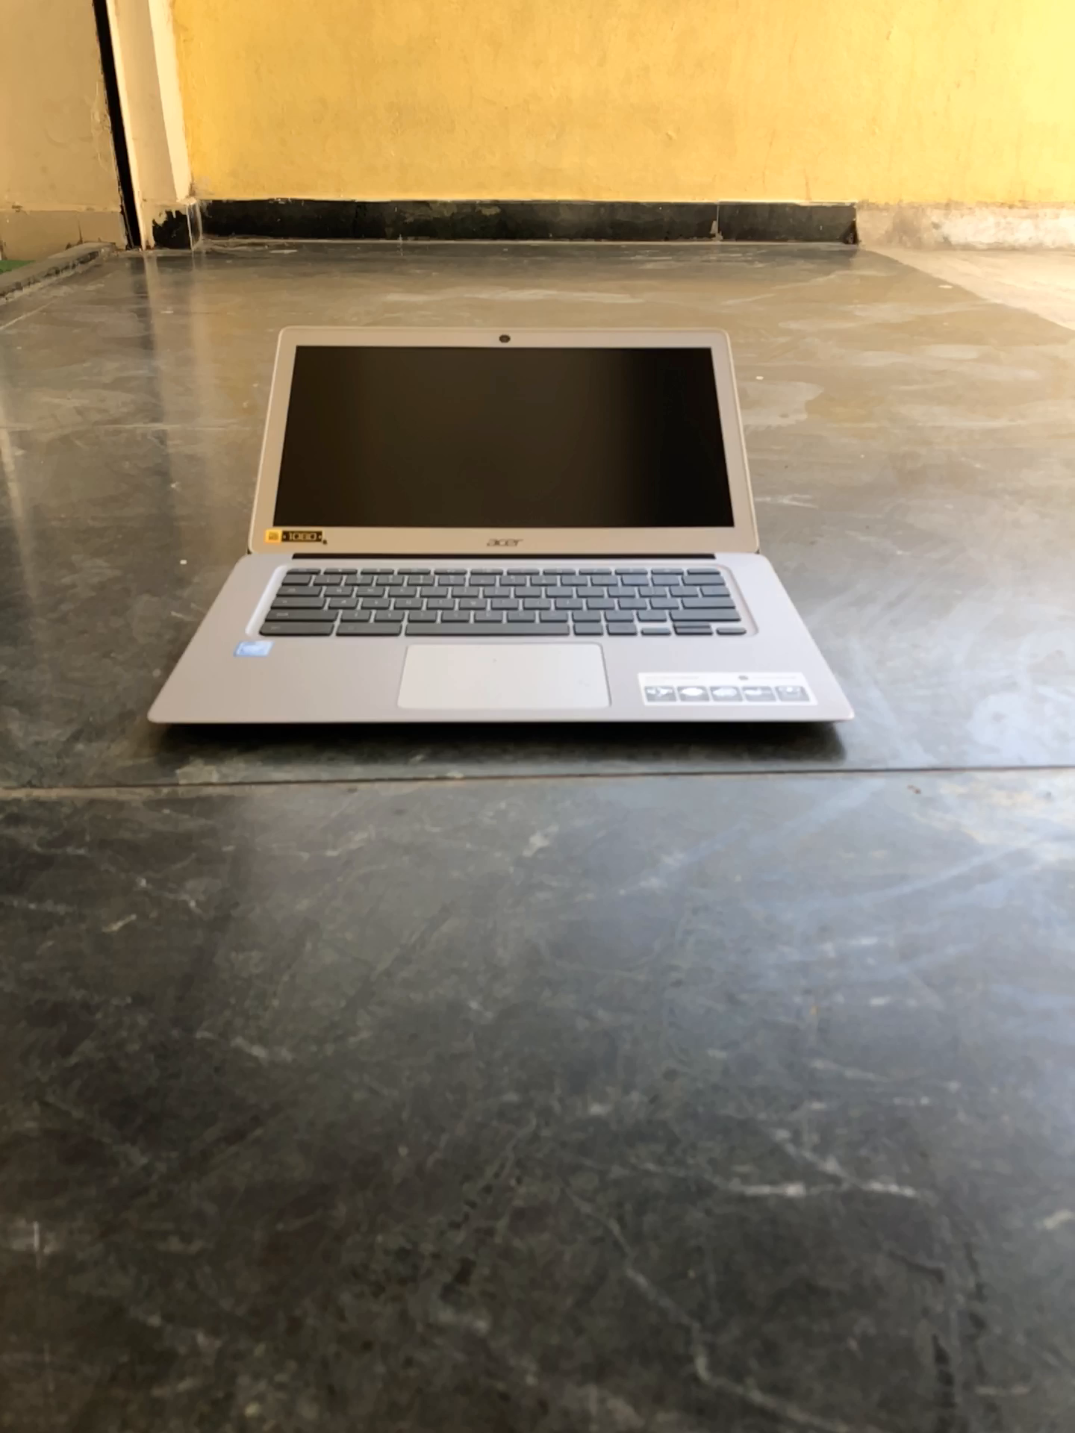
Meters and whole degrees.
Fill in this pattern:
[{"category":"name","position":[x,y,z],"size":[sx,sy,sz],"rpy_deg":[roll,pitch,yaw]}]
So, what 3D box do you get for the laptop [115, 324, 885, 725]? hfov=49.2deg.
[{"category":"laptop","position":[-0.020,-0.147,0.729],"size":[0.338,0.117,0.426],"rpy_deg":[0,27,-1]}]
